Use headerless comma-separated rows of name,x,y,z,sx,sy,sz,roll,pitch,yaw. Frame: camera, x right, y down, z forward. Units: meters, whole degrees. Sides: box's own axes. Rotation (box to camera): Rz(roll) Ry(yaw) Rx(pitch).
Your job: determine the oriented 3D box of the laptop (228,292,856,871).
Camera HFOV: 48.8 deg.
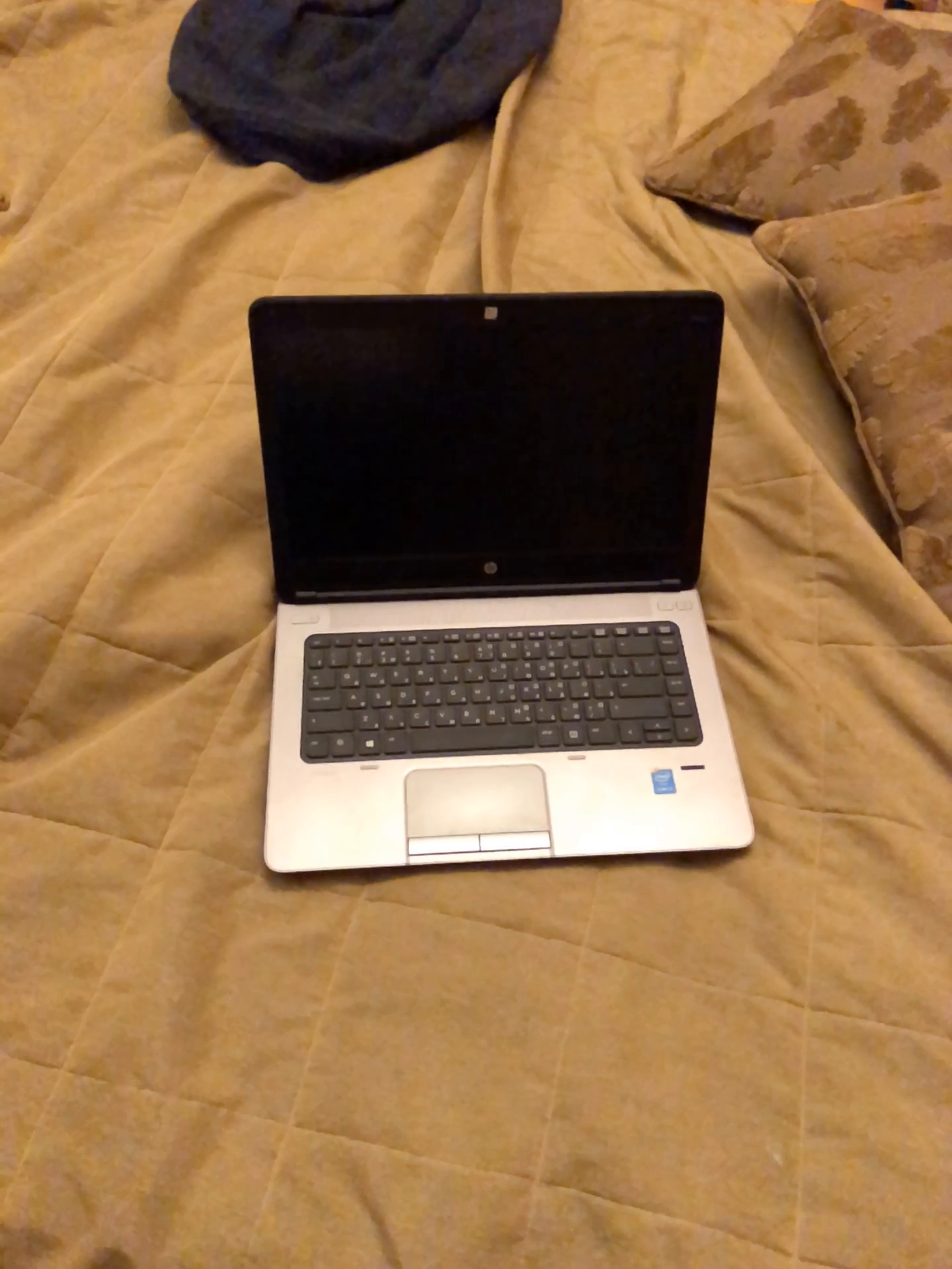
laptop,0.022,-0.043,0.723,0.332,0.189,0.340,-2,57,-4
